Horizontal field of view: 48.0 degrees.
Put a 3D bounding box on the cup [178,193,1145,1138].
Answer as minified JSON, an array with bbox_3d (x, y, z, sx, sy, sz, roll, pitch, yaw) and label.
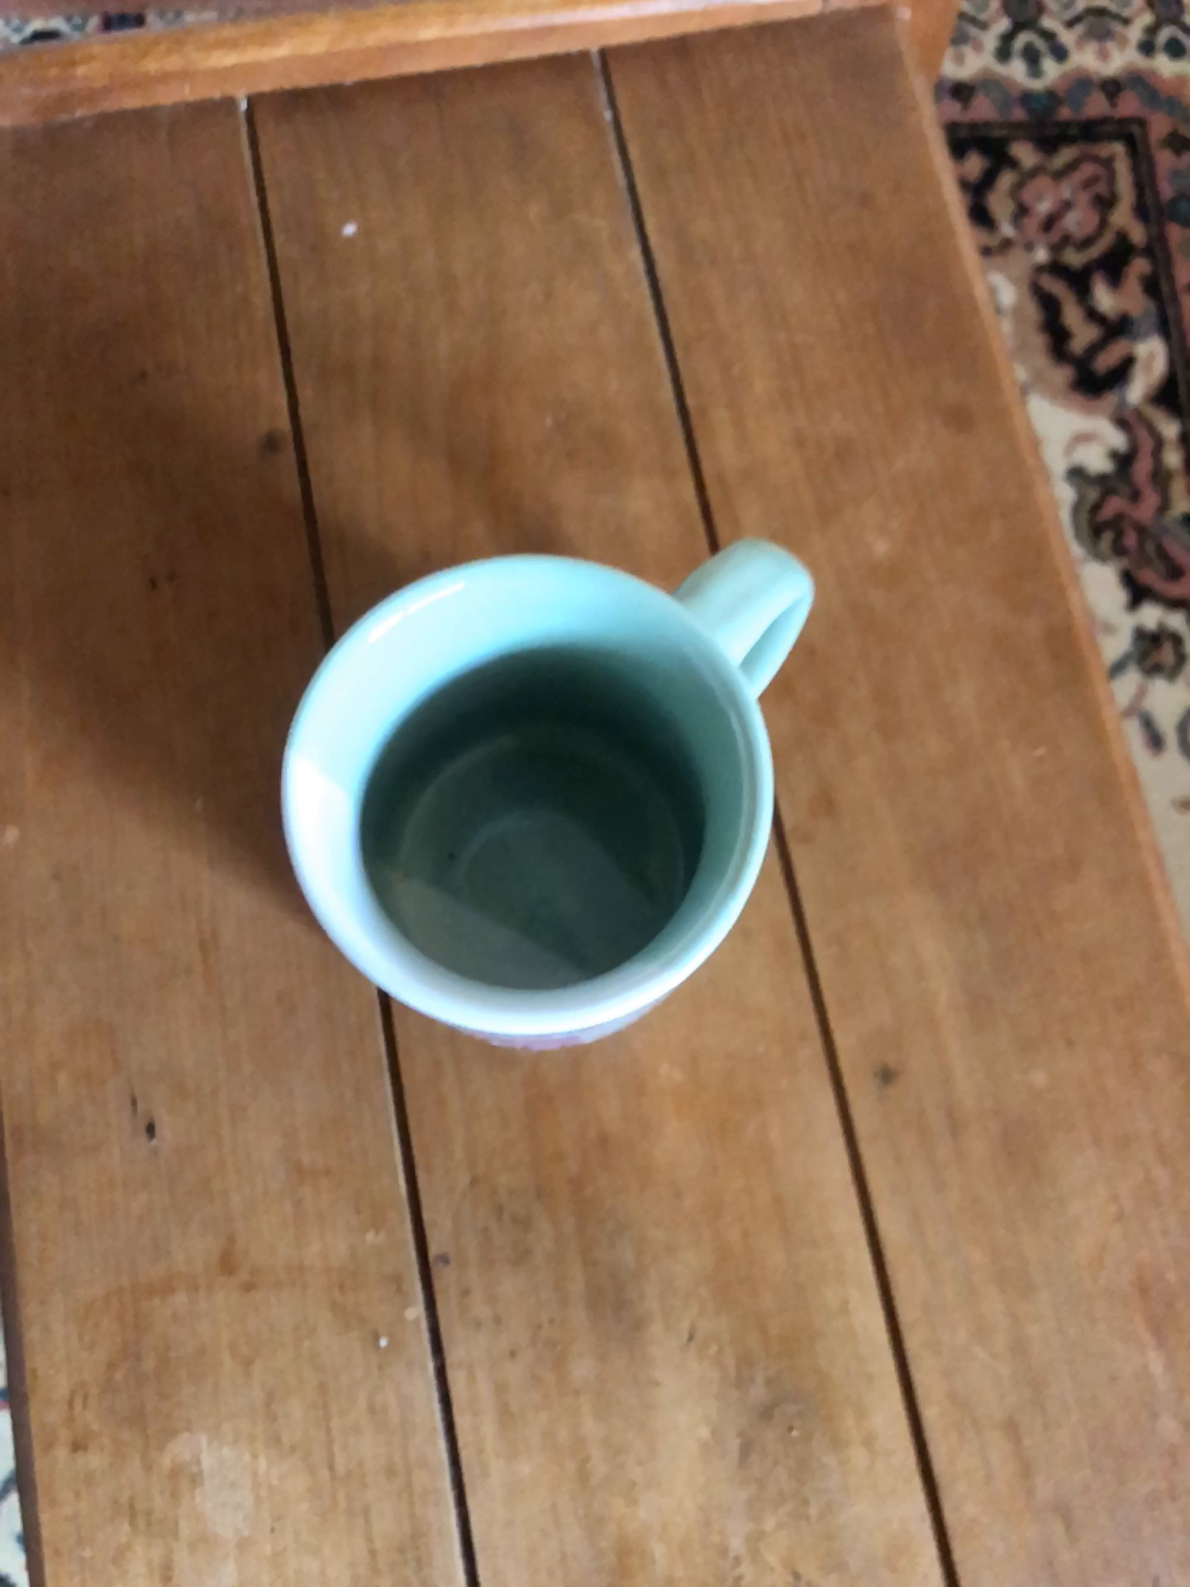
[{"bbox_3d":[0.011,-0.015,0.245,0.080,0.090,0.130,42,79,8],"label":"cup"}]
